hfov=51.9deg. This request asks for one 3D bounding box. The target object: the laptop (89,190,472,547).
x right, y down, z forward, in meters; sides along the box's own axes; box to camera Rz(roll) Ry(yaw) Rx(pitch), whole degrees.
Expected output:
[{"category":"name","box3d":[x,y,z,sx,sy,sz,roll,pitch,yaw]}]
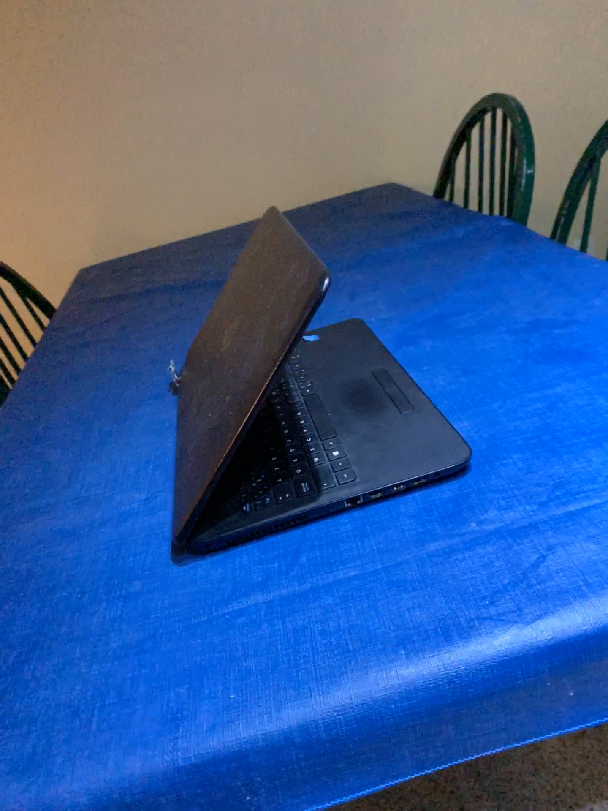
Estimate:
[{"category":"laptop","box3d":[-0.034,-0.076,0.628,0.251,0.167,0.373,-16,27,-3]}]
